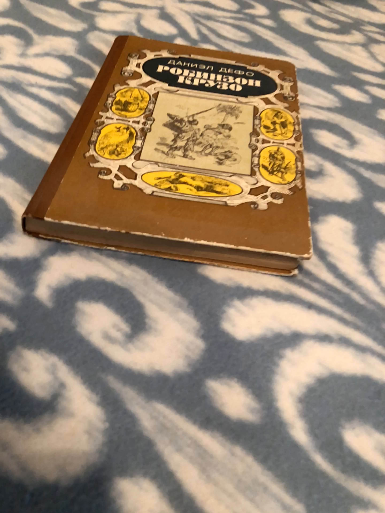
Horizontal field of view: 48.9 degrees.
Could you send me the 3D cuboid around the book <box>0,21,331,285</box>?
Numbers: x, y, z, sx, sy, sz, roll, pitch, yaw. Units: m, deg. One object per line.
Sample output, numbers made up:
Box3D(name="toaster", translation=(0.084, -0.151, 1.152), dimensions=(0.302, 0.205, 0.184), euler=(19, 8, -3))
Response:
Box3D(name="book", translation=(-0.003, -0.097, 0.308), dimensions=(0.178, 0.024, 0.243), euler=(9, 50, 1))
